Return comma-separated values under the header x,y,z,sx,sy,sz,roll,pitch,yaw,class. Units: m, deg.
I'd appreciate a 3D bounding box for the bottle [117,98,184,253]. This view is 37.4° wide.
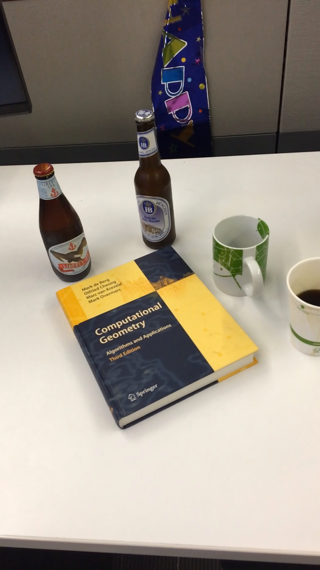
x,y,z,sx,sy,sz,roll,pitch,yaw,class
-0.008,-0.159,0.721,0.060,0.220,0.070,9,47,16,bottle

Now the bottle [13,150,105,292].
x,y,z,sx,sy,sz,roll,pitch,yaw,class
-0.141,-0.088,0.686,0.070,0.180,0.070,-4,45,4,bottle
